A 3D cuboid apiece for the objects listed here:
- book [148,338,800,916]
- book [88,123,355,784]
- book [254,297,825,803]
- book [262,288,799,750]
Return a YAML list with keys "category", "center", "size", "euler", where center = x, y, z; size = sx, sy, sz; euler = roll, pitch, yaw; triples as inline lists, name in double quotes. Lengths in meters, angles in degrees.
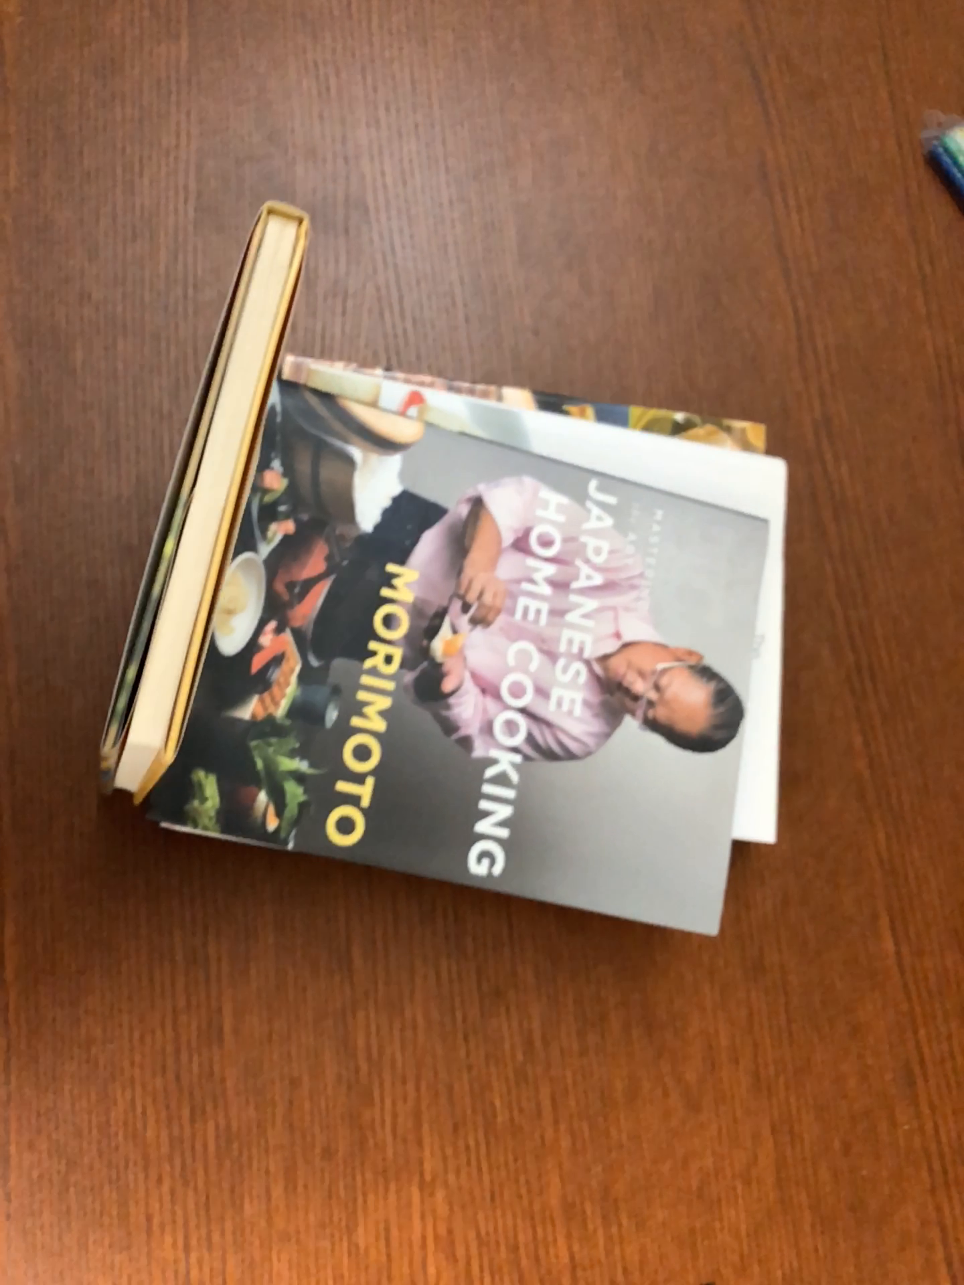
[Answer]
- category: "book"
  center: [0.010, -0.004, 0.513]
  size: [0.280, 0.030, 0.220]
  euler: [13, 74, -12]
- category: "book"
  center: [-0.111, -0.055, 0.442]
  size: [0.030, 0.210, 0.210]
  euler: [16, 74, -14]
- category: "book"
  center: [0.040, -0.043, 0.547]
  size: [0.280, 0.030, 0.220]
  euler: [8, 75, -13]
- category: "book"
  center: [0.033, -0.062, 0.579]
  size: [0.280, 0.030, 0.220]
  euler: [5, 76, -13]
